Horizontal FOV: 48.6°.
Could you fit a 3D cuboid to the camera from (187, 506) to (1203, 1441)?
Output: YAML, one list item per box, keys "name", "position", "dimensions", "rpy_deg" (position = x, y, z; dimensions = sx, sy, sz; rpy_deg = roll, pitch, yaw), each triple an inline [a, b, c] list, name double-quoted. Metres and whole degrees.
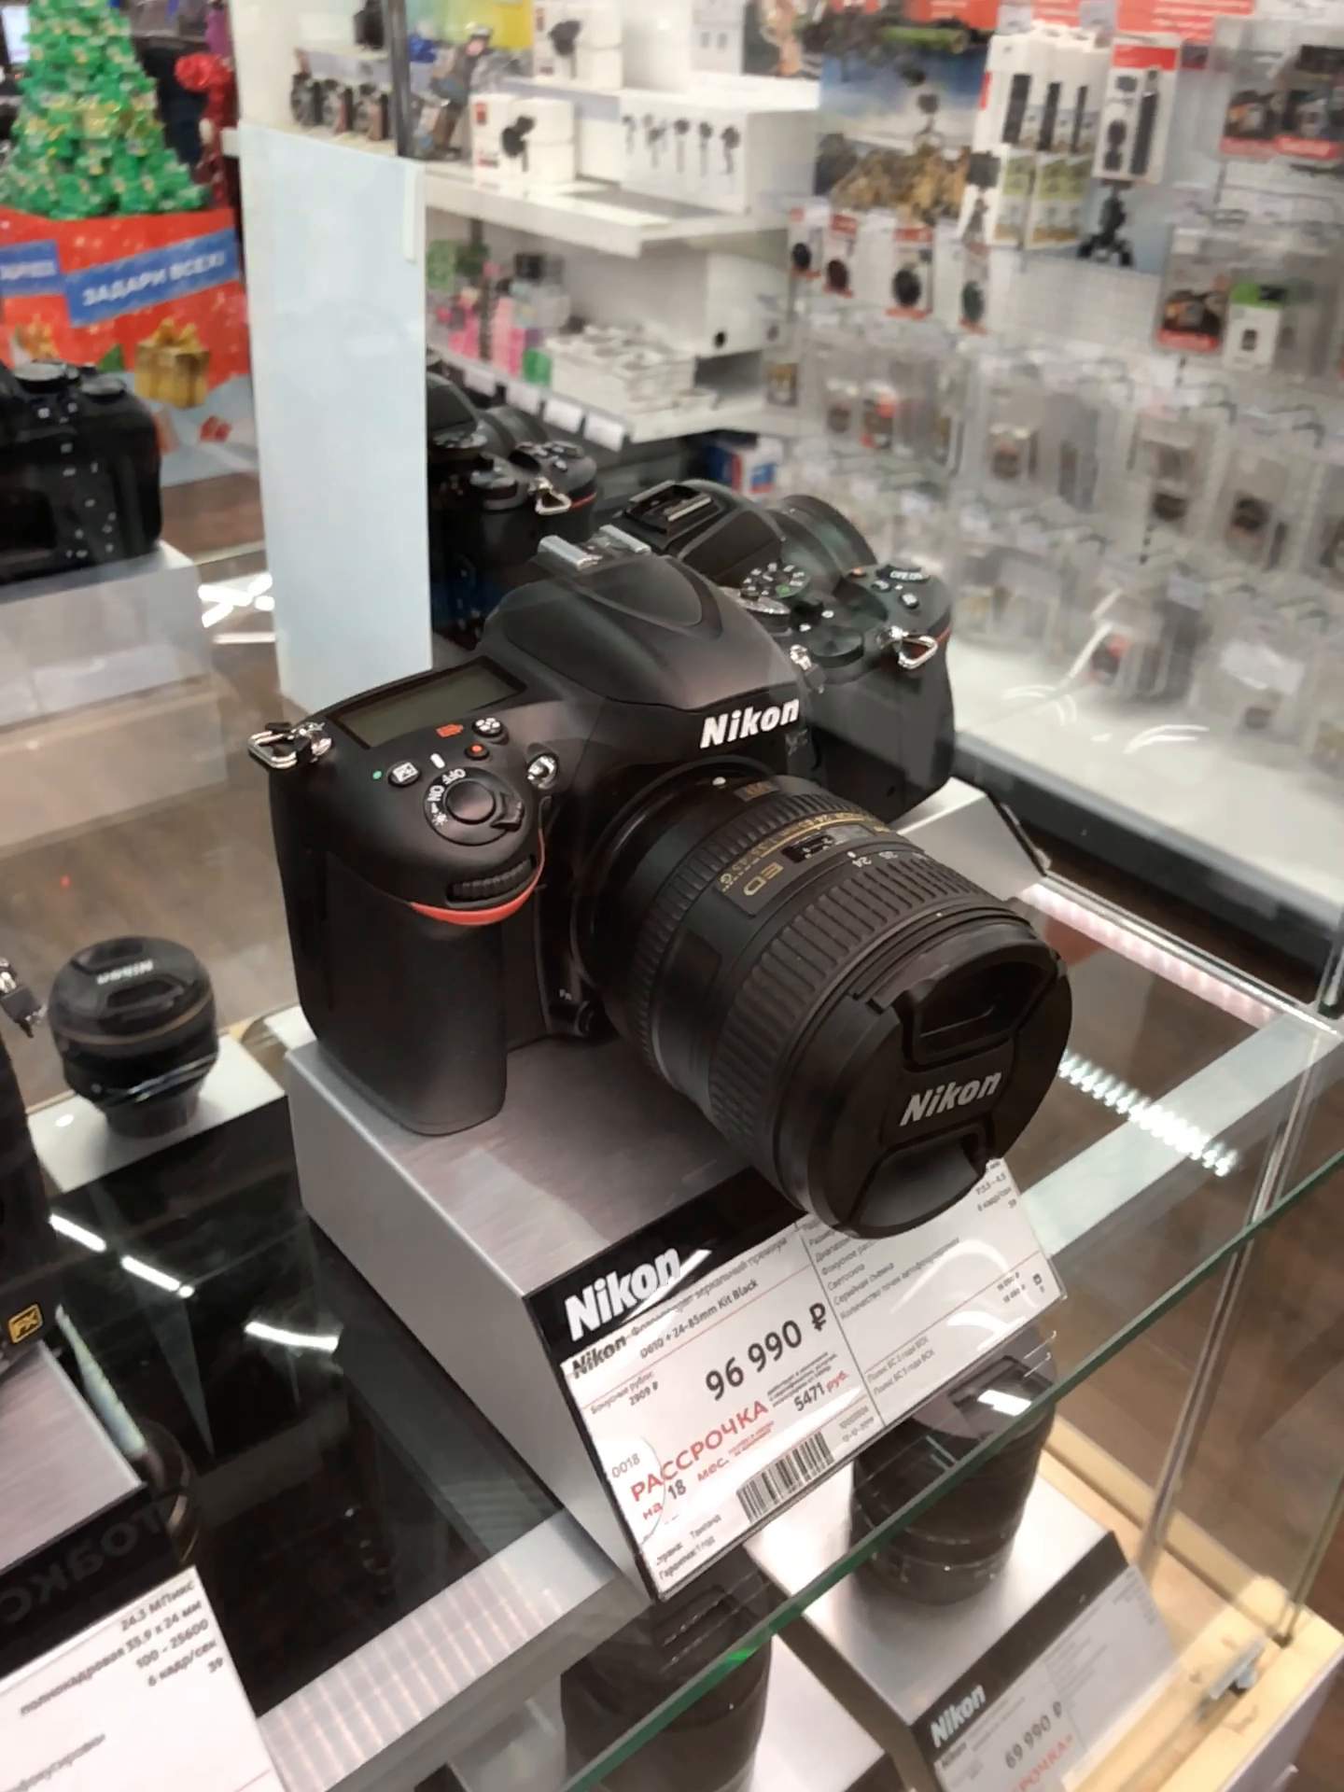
- name: "camera"
  position: [-0.003, -0.002, 0.331]
  dimensions: [0.148, 0.109, 0.151]
  rpy_deg: [-18, 37, -29]
